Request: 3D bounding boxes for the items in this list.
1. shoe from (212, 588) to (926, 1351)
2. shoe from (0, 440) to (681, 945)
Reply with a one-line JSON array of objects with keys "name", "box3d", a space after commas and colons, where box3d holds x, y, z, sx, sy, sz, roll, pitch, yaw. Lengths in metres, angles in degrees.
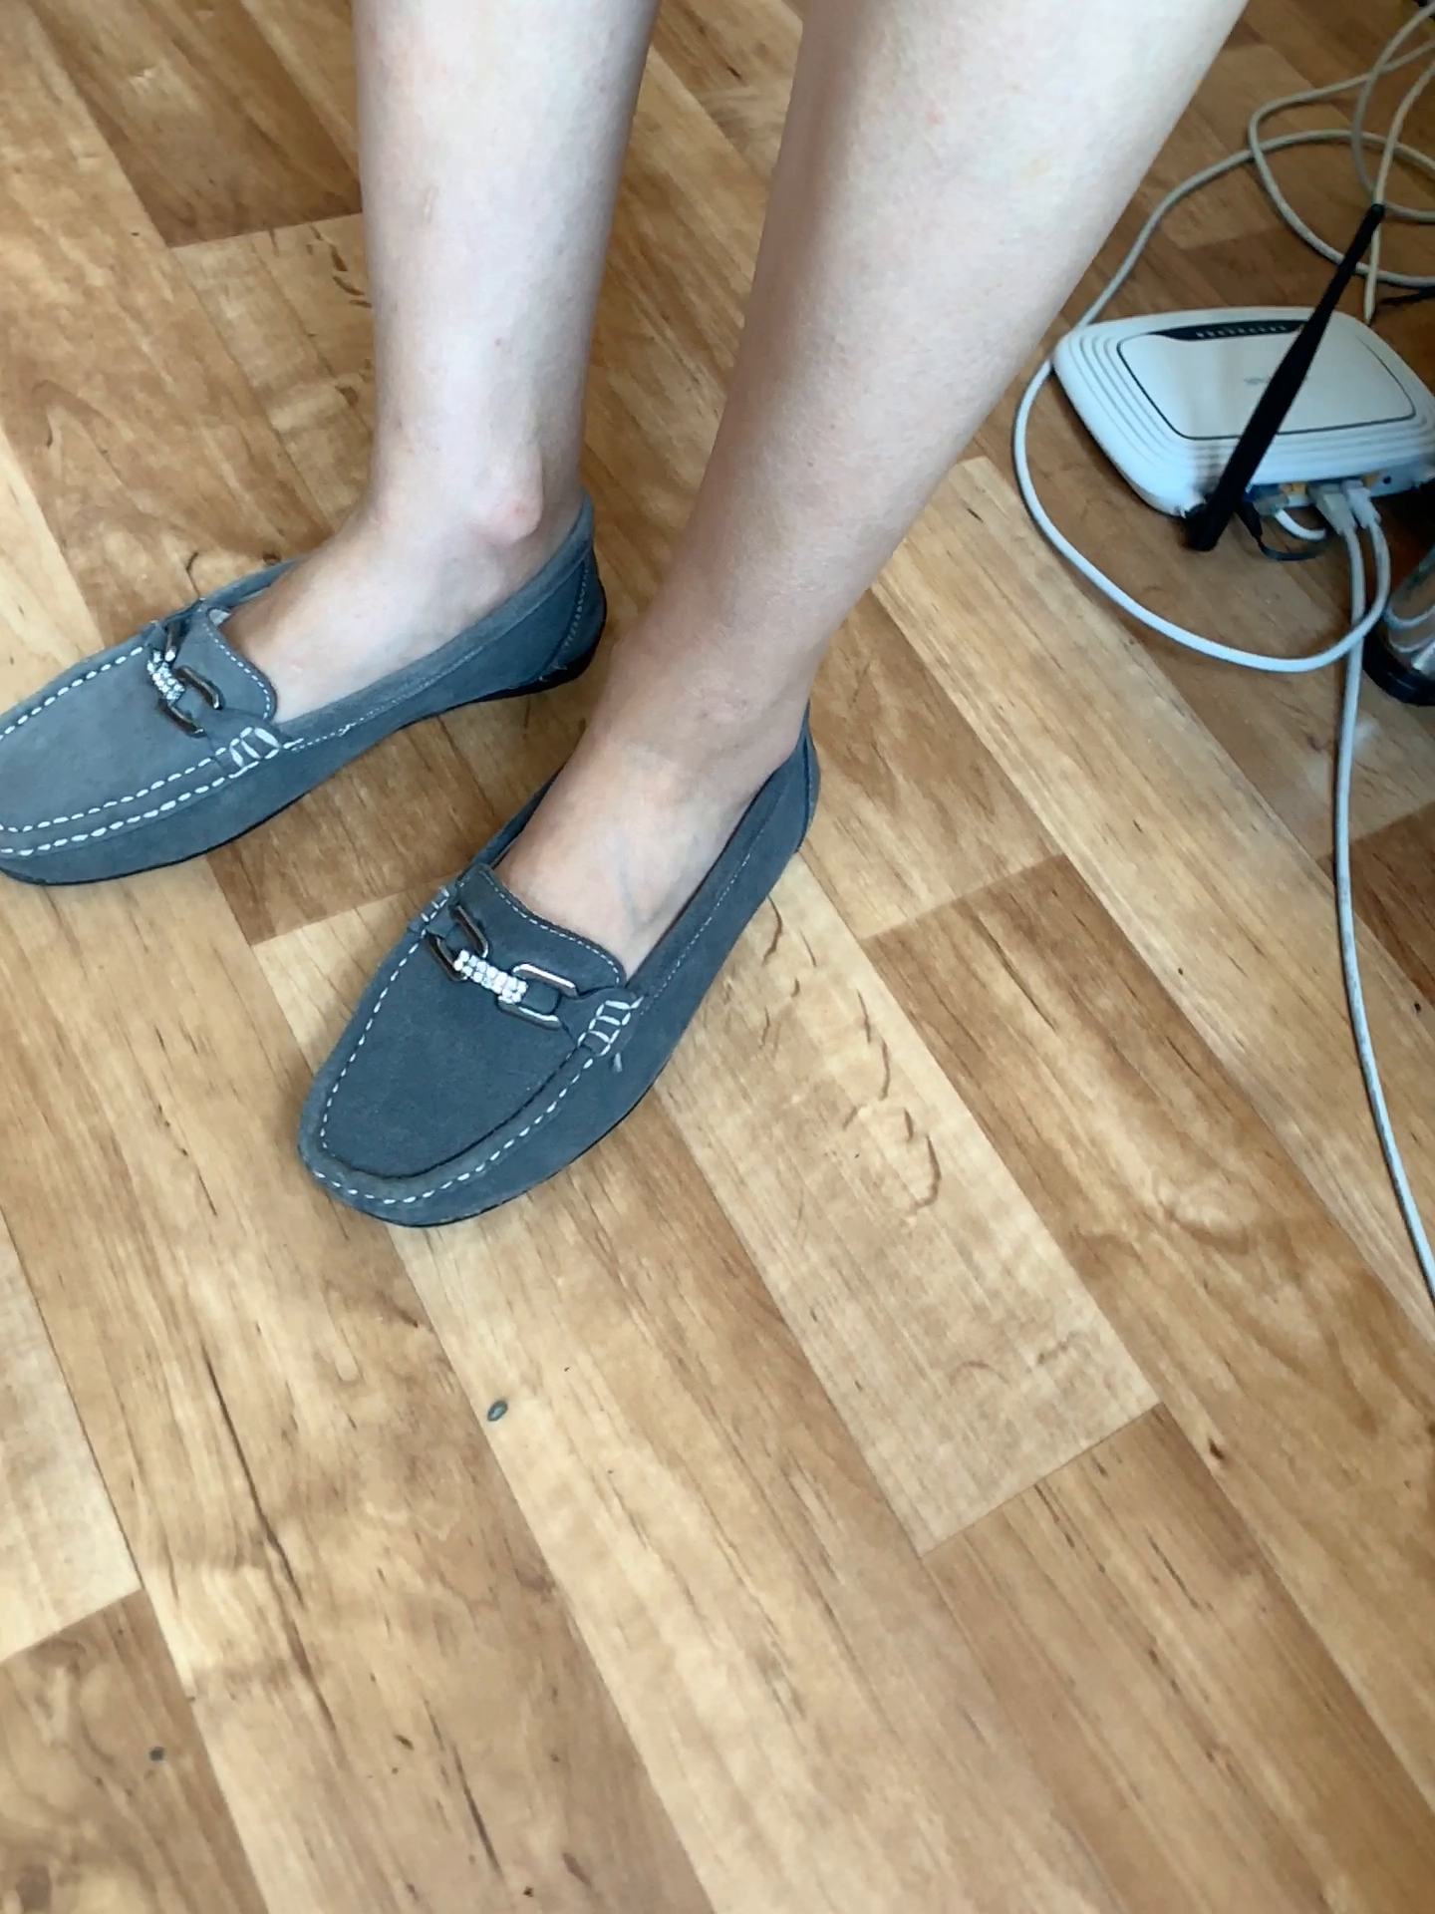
[{"name": "shoe", "box3d": [-0.038, -0.006, 0.481, 0.100, 0.060, 0.241, 33, 60, 7]}, {"name": "shoe", "box3d": [-0.141, -0.100, 0.521, 0.240, 0.060, 0.090, -25, 65, -23]}]
